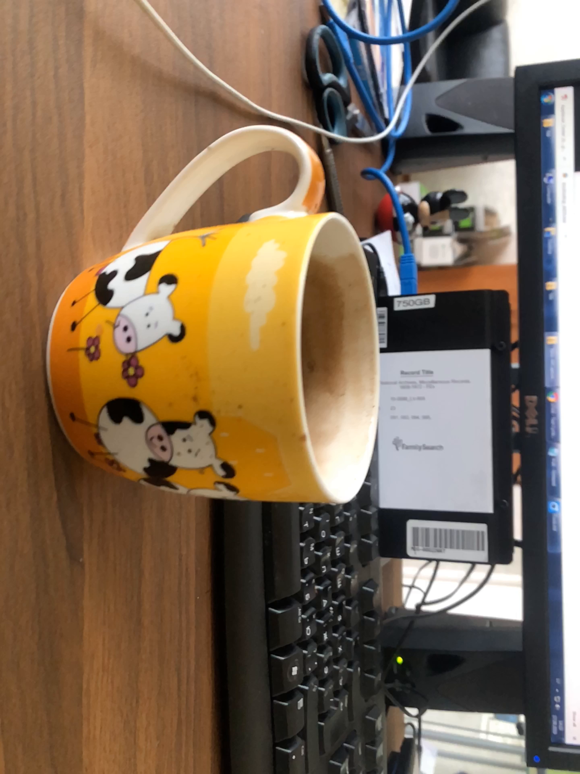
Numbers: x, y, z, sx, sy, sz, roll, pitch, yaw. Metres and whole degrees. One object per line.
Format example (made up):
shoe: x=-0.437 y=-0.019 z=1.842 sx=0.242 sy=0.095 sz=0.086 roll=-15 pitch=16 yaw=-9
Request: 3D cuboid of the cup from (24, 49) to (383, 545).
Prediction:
cup: x=-0.025 y=-0.023 z=0.234 sx=0.093 sy=0.095 sz=0.135 roll=3 pitch=86 yaw=-69
